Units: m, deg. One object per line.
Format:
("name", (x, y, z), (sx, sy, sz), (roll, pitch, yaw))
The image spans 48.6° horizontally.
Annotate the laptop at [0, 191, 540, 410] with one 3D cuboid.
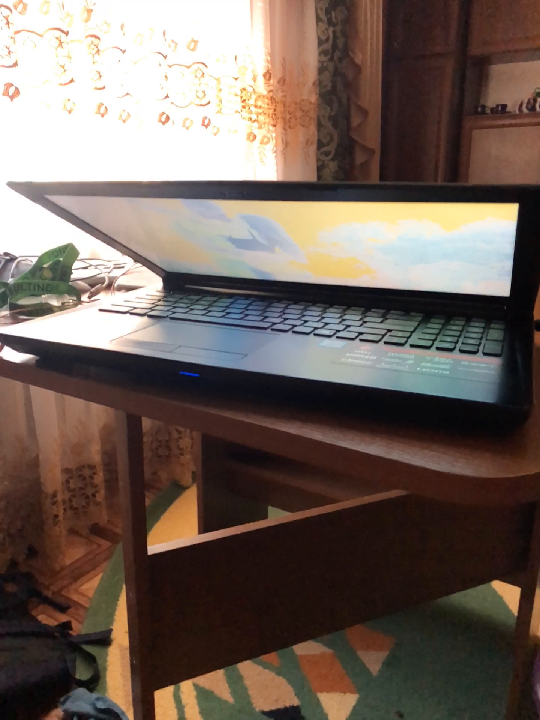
("laptop", (0.006, -0.077, 0.461), (0.372, 0.095, 0.239), (7, 18, 24))
